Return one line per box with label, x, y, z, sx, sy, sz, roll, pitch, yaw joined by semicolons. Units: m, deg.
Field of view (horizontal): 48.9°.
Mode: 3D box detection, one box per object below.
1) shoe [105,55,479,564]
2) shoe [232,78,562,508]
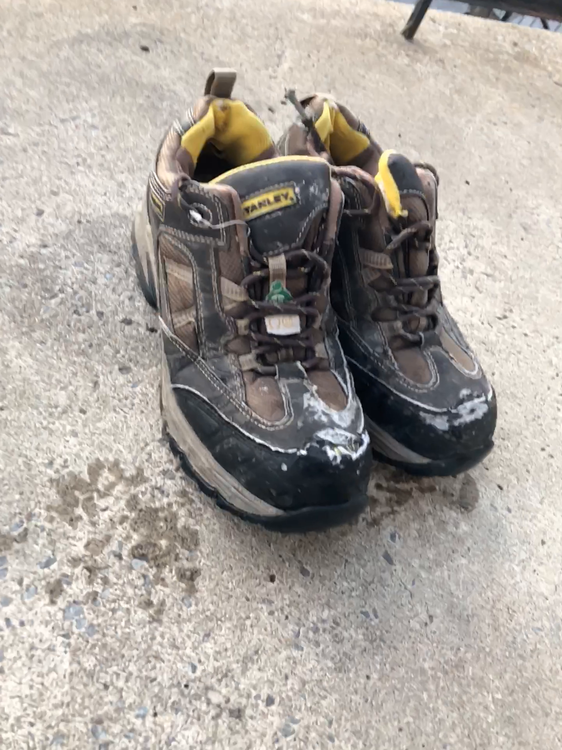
shoe;-0.020;-0.042;0.375;0.100;0.149;0.251;-9;62;-27
shoe;0.079;-0.057;0.441;0.120;0.169;0.231;-9;62;-27
